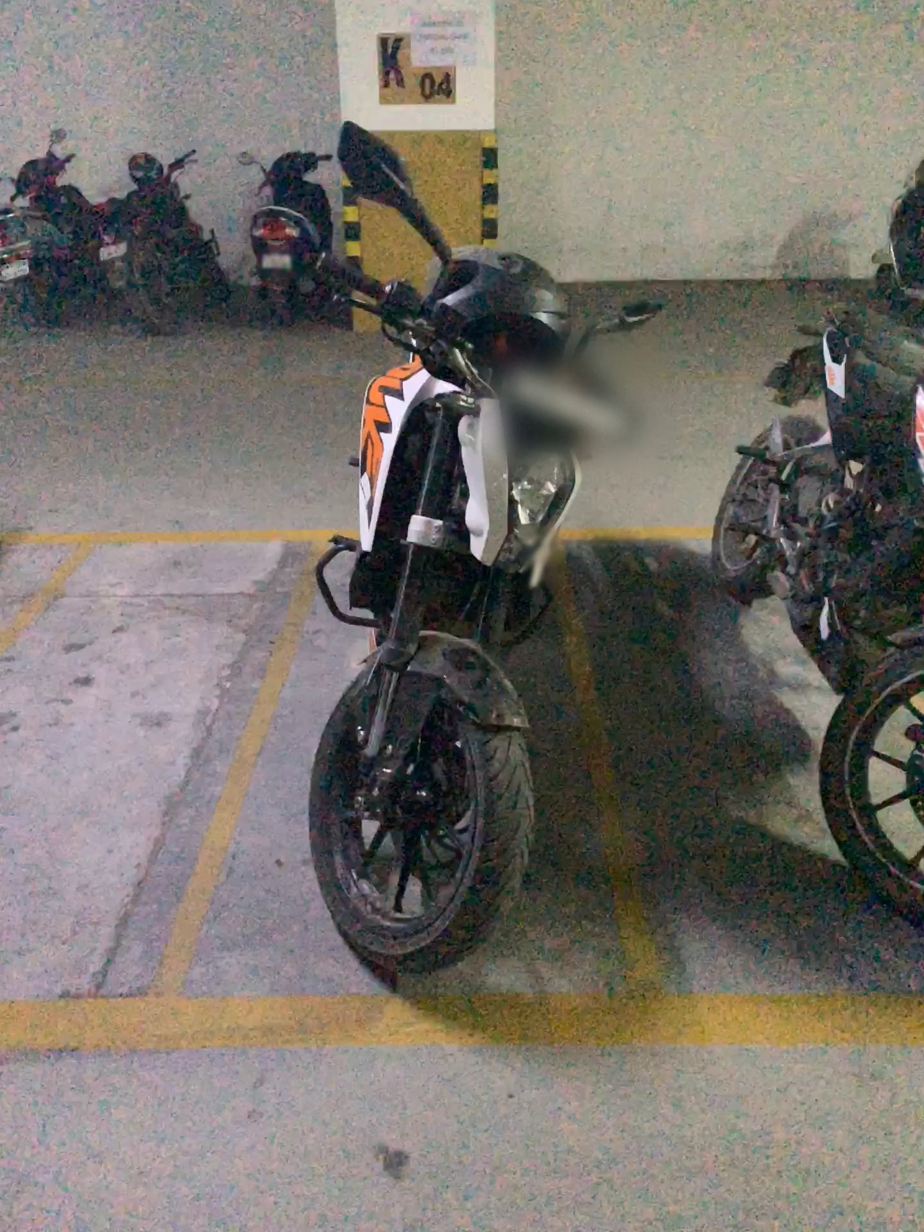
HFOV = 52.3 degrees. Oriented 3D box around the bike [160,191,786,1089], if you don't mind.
[{"bbox_3d":[0.023,-0.199,2.276,0.802,1.181,1.923,-1,32,0],"label":"bike"}]
